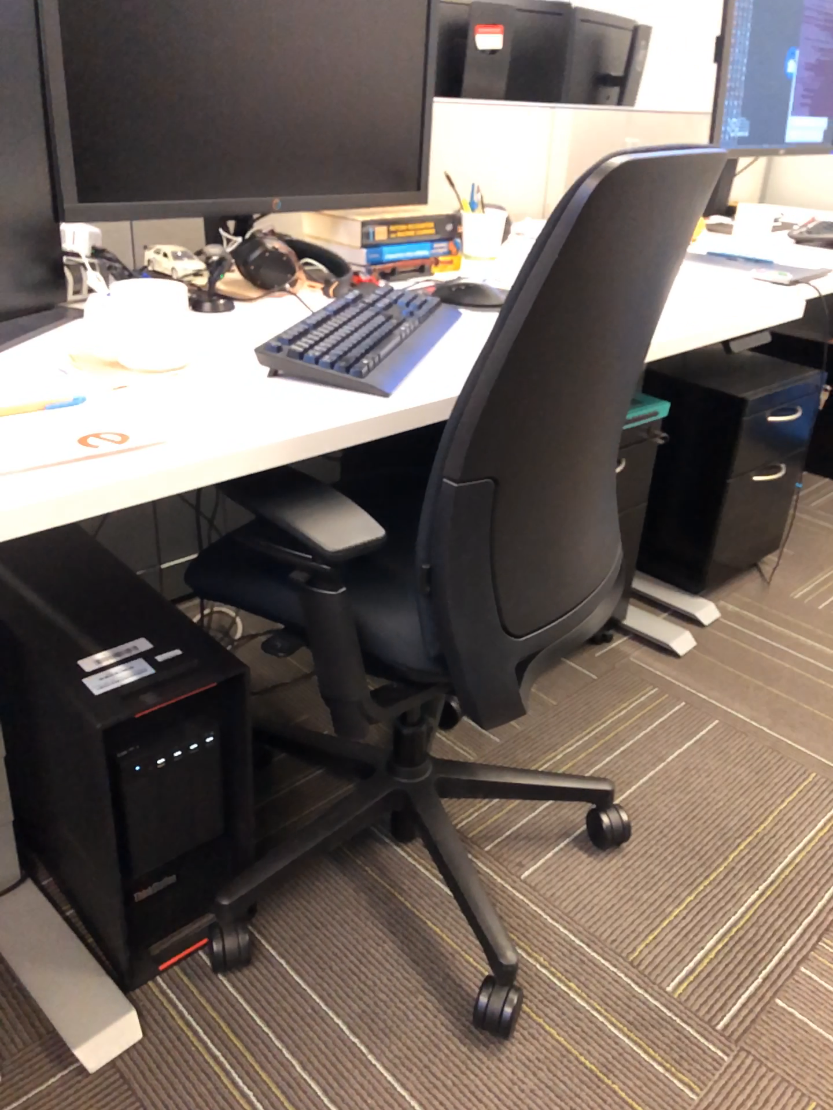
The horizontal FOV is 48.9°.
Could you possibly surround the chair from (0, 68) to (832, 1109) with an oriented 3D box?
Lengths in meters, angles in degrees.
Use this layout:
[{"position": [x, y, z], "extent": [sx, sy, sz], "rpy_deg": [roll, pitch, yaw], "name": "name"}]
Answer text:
[{"position": [0.070, 0.005, 1.135], "extent": [0.661, 1.015, 0.782], "rpy_deg": [27, 35, 37], "name": "chair"}]
